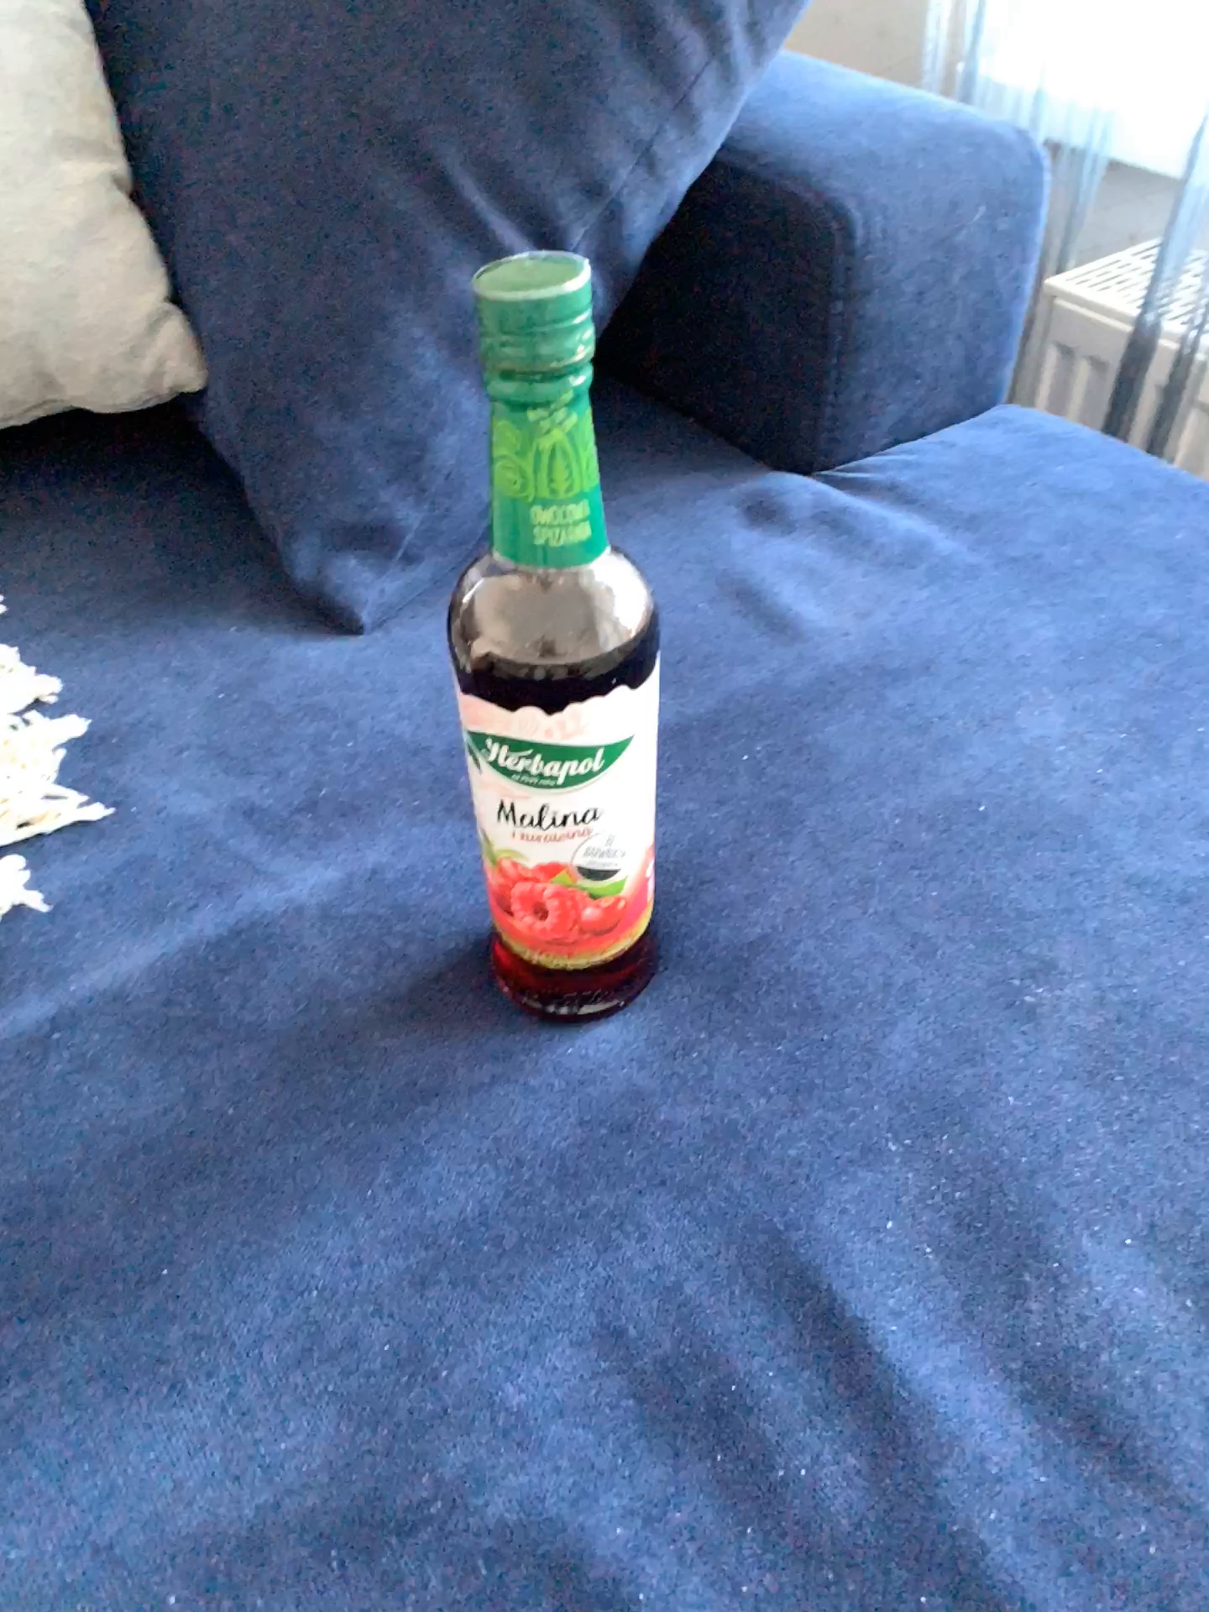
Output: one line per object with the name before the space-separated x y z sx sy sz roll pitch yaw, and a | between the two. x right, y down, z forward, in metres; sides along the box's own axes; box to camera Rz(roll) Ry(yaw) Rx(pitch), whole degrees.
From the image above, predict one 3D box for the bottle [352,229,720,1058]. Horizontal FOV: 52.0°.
bottle | -0.011 -0.032 0.379 0.070 0.249 0.070 -1 43 1
